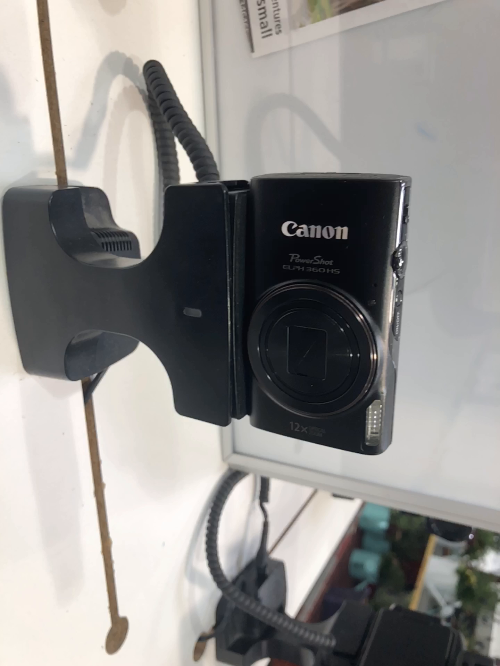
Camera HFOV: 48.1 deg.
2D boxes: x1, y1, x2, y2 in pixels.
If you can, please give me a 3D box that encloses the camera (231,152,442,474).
[{"bbox_3d":[0.032,-0.010,0.217,0.030,0.070,0.110,-25,117,-60],"label":"camera"}]
